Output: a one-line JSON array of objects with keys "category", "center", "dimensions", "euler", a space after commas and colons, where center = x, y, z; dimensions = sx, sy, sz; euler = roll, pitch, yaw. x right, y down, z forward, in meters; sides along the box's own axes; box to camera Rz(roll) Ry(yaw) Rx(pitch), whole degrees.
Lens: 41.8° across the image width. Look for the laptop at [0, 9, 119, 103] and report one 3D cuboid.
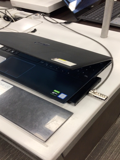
[{"category": "laptop", "center": [-0.075, -0.105, 0.516], "dimensions": [0.388, 0.117, 0.235], "euler": [26, 55, 26]}]
